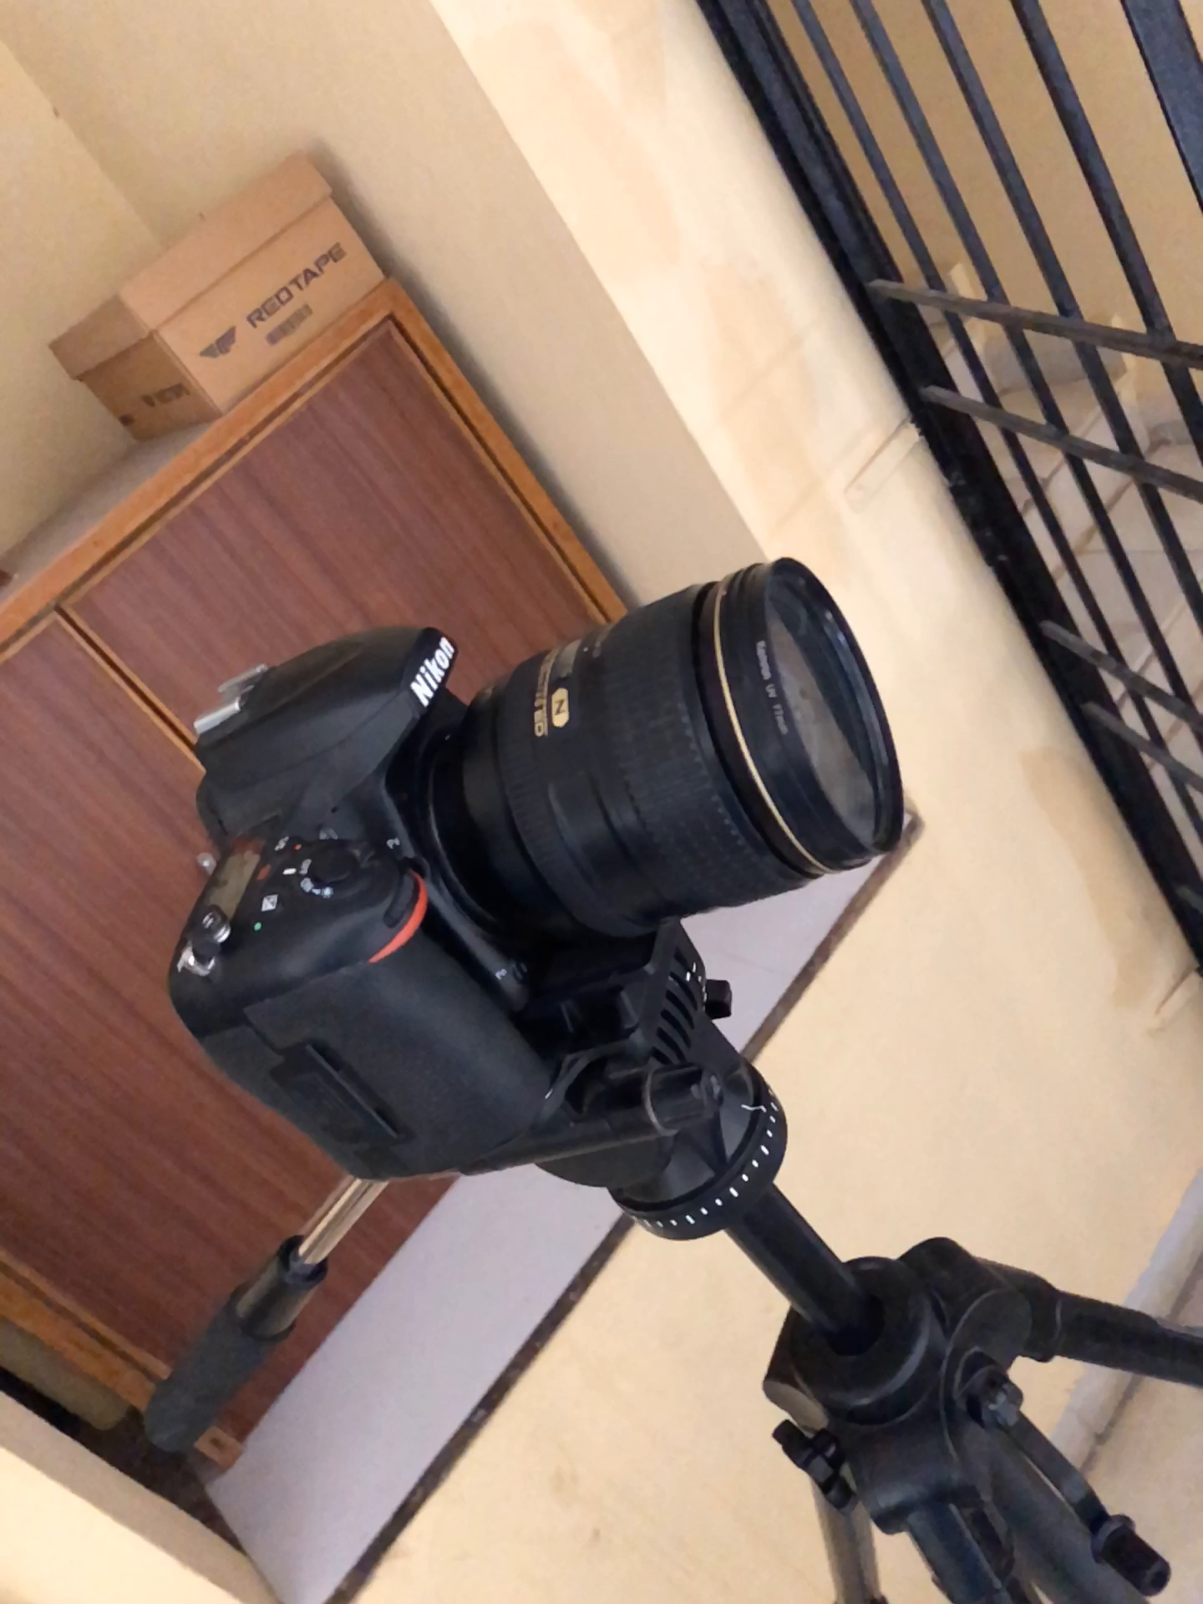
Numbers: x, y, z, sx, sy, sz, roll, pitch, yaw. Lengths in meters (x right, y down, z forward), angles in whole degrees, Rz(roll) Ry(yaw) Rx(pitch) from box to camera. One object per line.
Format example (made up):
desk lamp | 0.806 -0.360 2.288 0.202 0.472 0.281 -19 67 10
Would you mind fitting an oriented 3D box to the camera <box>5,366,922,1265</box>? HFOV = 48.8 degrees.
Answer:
camera | -0.020 0.004 0.347 0.171 0.105 0.171 -21 31 29
